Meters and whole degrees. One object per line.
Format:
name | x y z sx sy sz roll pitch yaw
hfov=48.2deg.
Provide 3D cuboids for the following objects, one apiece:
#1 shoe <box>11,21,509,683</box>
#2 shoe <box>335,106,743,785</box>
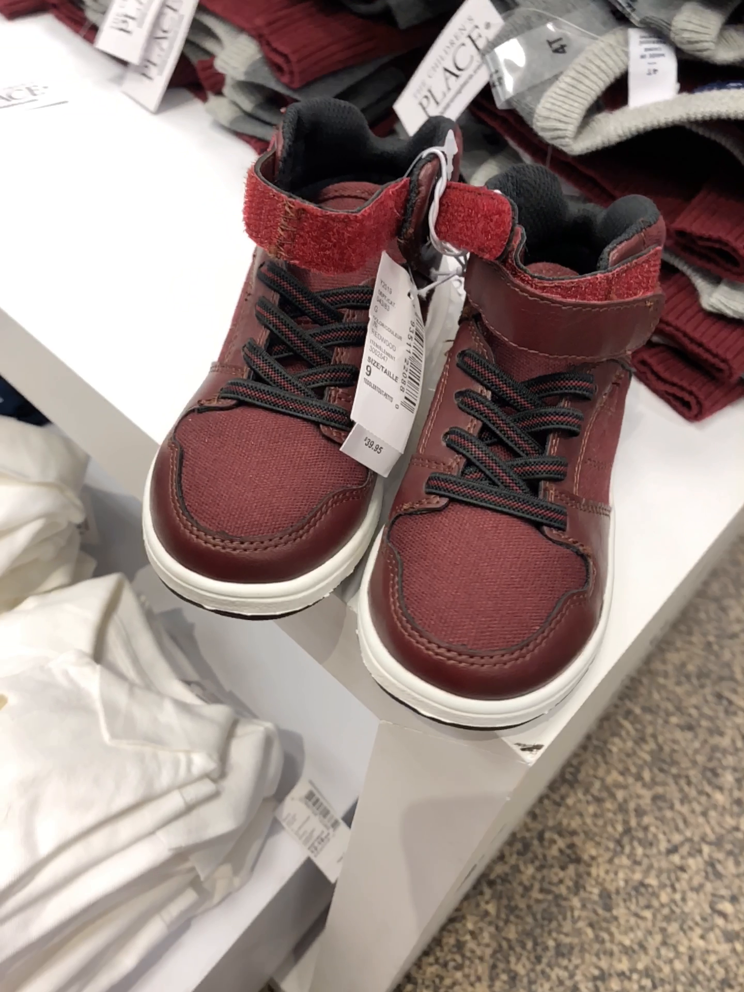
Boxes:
shoe | -0.019 -0.048 0.243 0.070 0.100 0.160 16 50 5
shoe | 0.057 -0.025 0.261 0.080 0.100 0.181 16 50 5
